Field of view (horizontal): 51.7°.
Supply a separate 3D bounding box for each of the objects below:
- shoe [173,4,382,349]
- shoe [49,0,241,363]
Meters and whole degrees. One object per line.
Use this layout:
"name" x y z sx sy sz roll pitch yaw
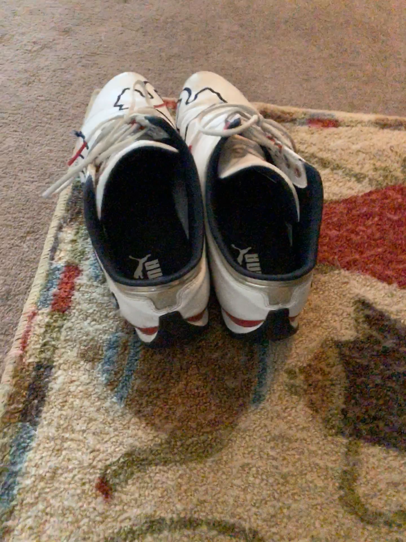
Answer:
"shoe" 0.038 -0.094 0.368 0.100 0.106 0.292 -5 62 -7
"shoe" -0.059 -0.088 0.354 0.100 0.106 0.292 -9 63 -9
